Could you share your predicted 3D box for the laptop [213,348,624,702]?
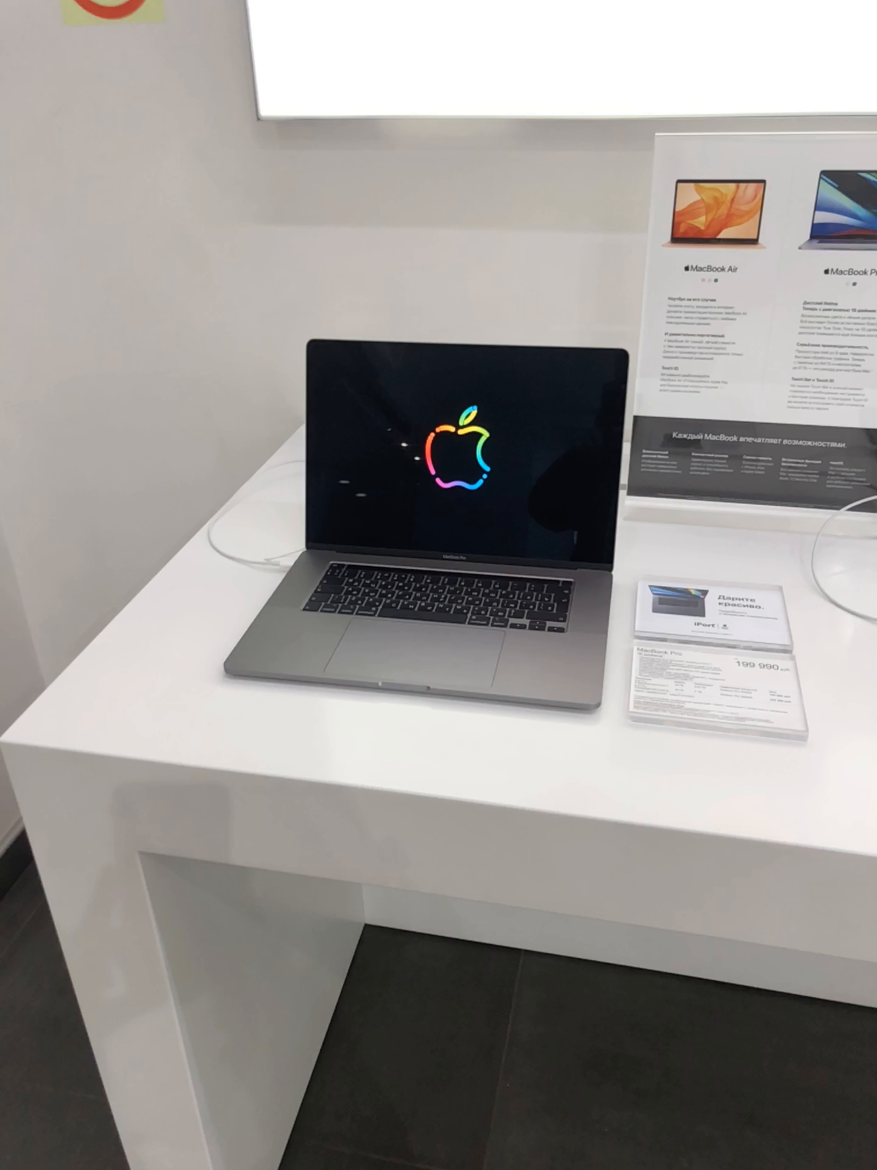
[{"bbox_3d":[0.006,-0.080,0.945,0.328,0.209,0.311,4,30,10],"label":"laptop"}]
